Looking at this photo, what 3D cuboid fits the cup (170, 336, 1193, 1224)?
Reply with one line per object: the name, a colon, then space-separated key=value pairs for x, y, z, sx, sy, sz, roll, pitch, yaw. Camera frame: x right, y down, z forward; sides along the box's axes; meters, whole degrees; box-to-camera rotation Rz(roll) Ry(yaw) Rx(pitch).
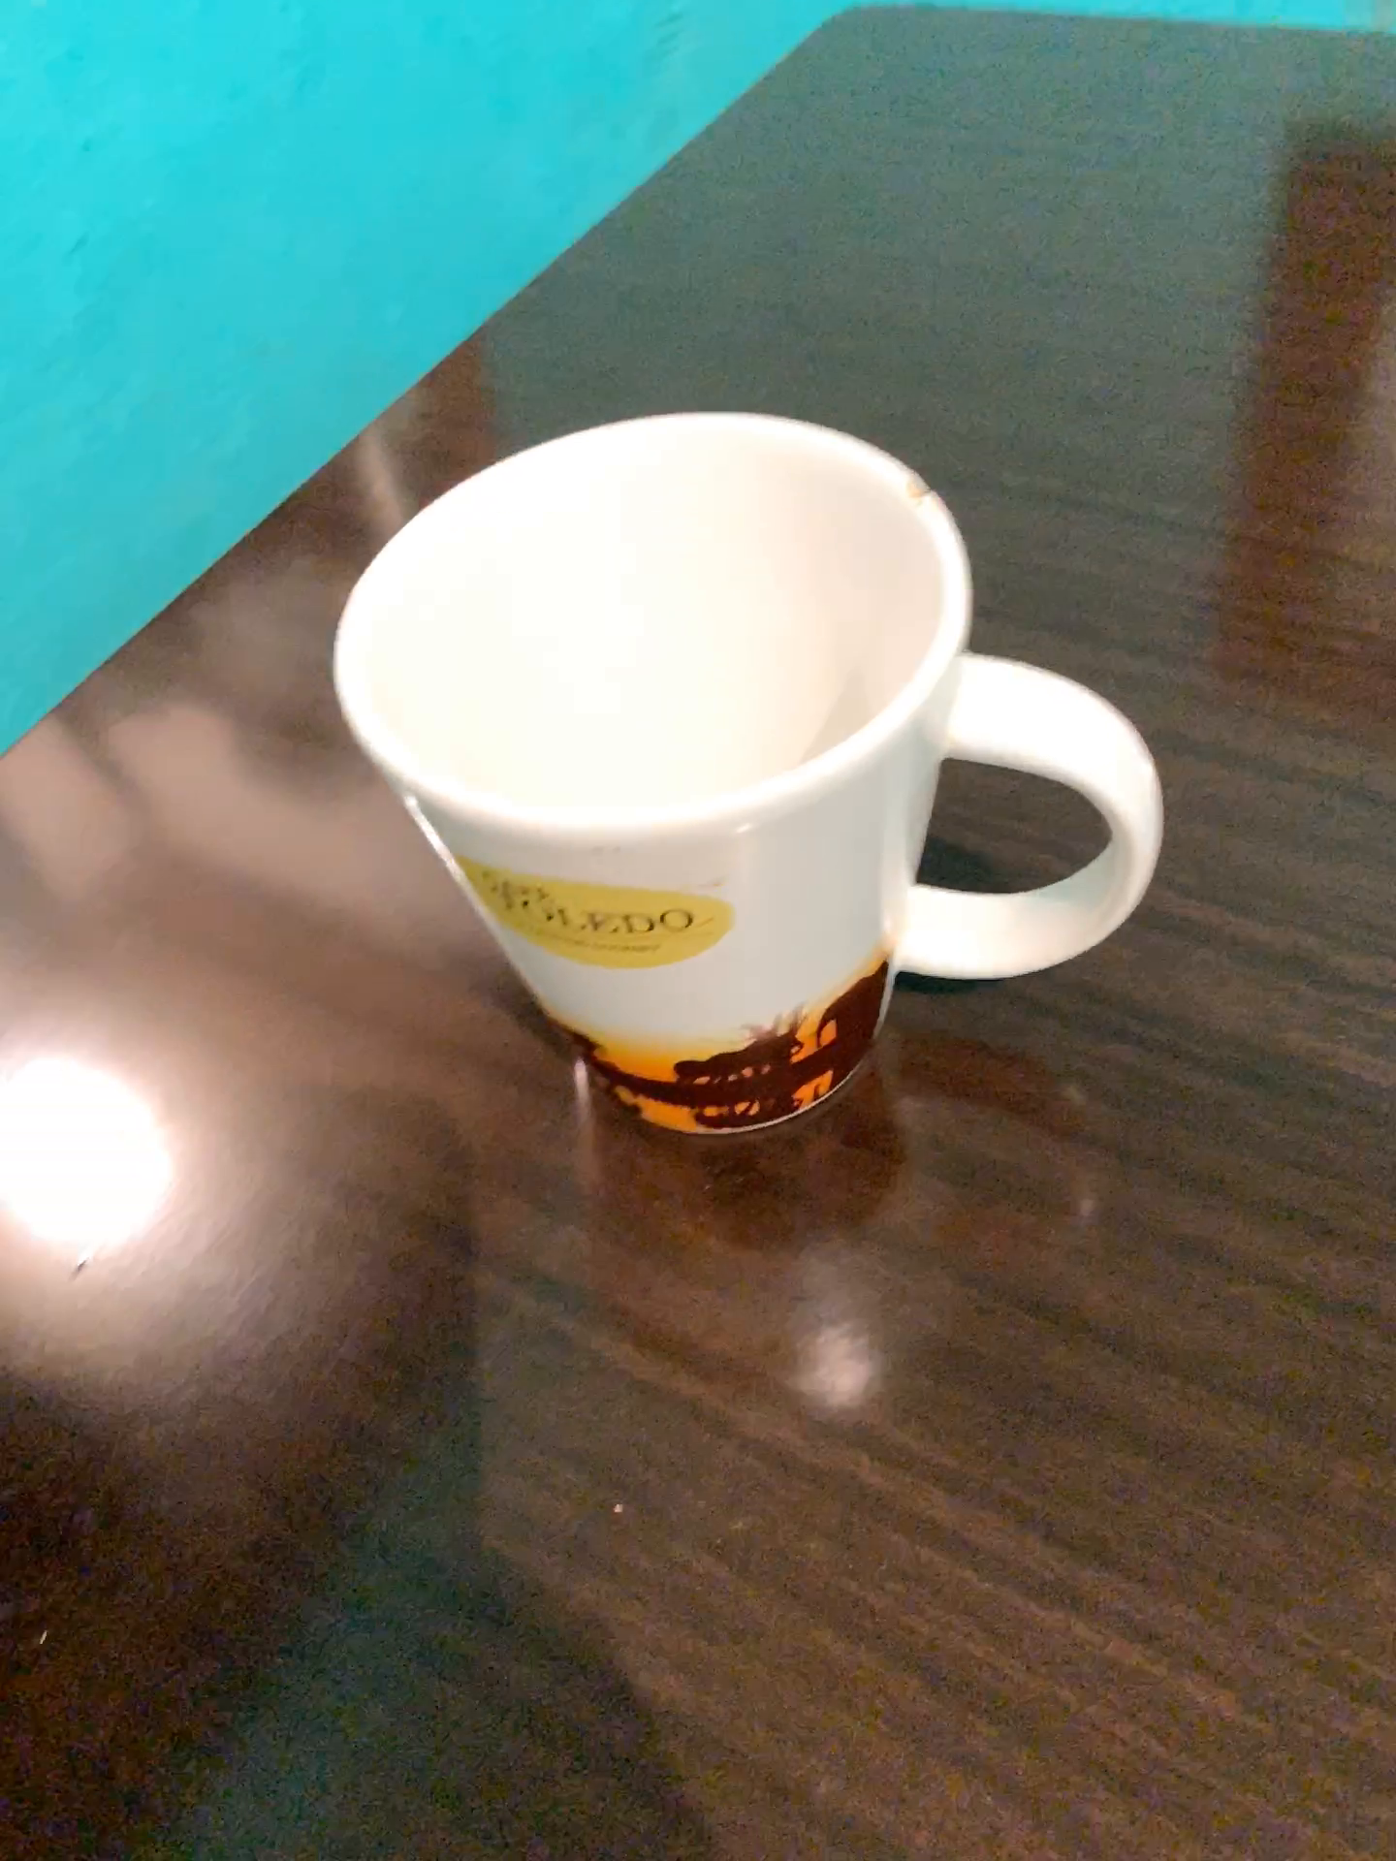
cup: x=0.008 y=-0.024 z=0.209 sx=0.110 sy=0.080 sz=0.090 roll=5 pitch=52 yaw=13
